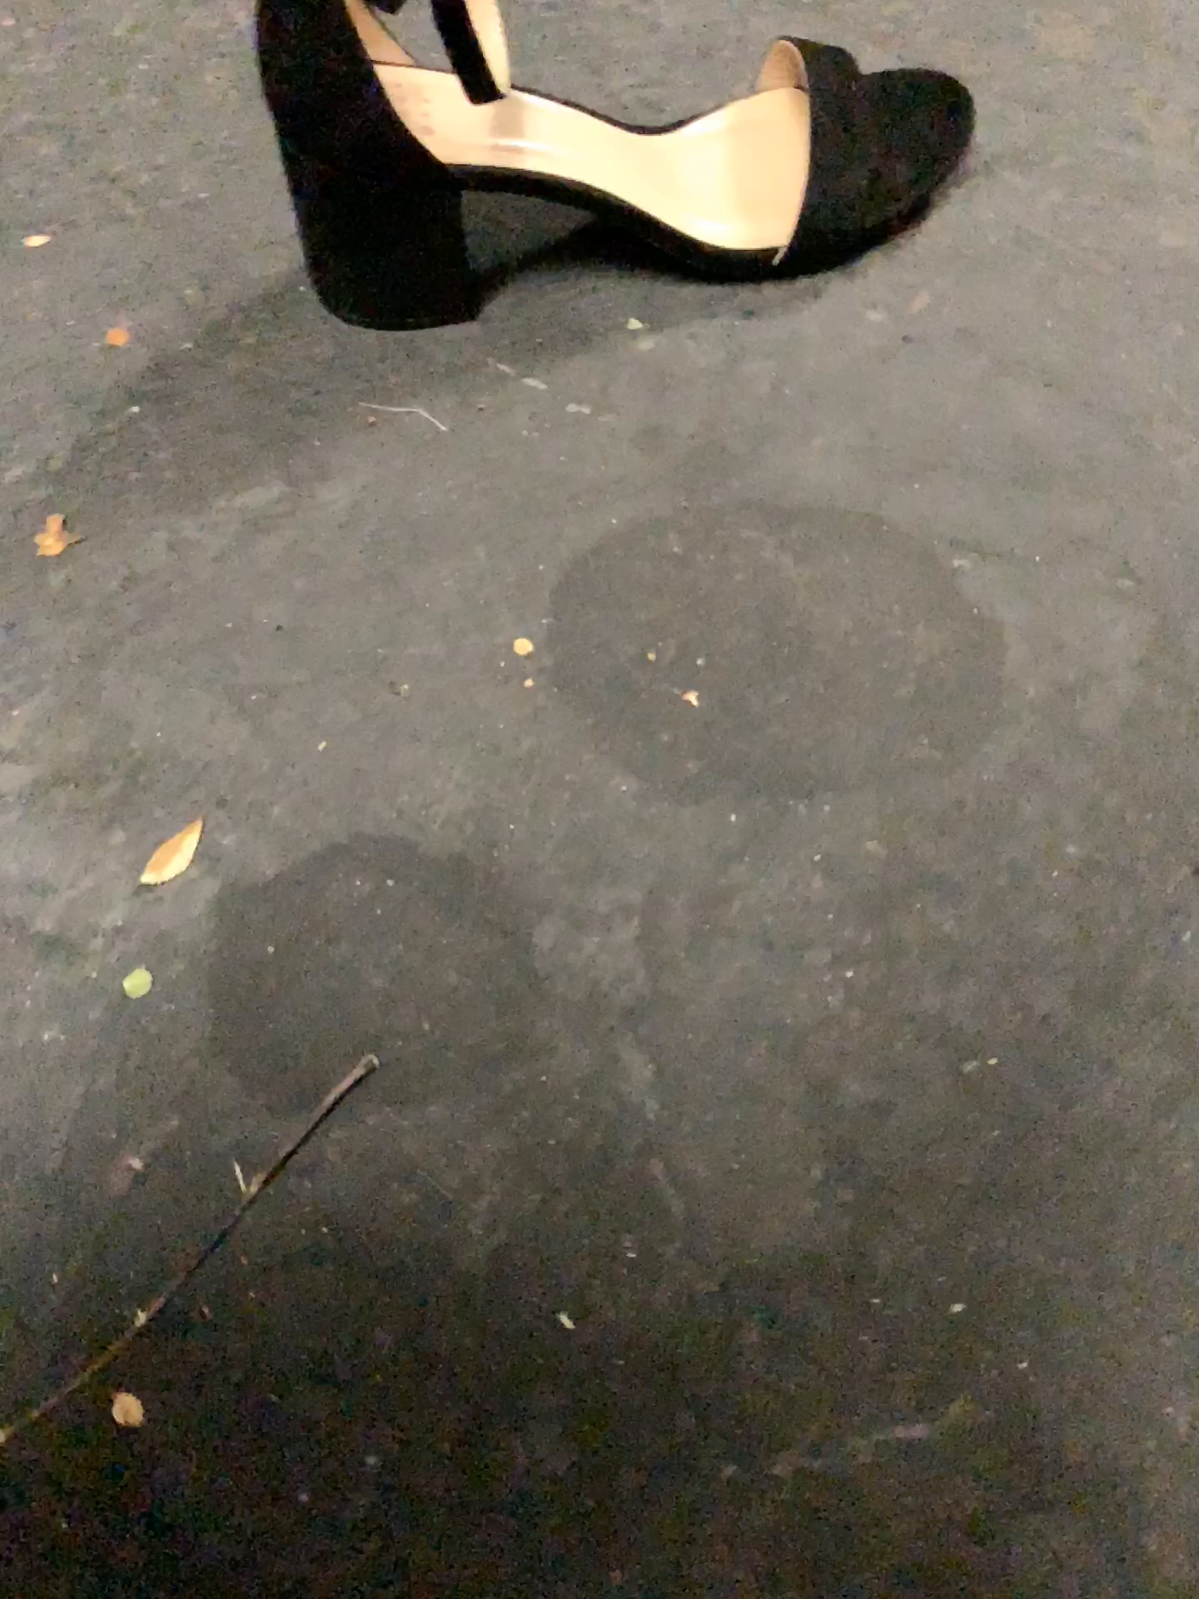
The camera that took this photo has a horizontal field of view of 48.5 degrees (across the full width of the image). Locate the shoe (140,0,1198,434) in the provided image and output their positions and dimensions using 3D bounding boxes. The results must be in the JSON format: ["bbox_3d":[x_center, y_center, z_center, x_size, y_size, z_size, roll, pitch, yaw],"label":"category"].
[{"bbox_3d":[0.021,-0.242,0.419,0.270,0.140,0.120,-16,61,-5],"label":"shoe"}]
